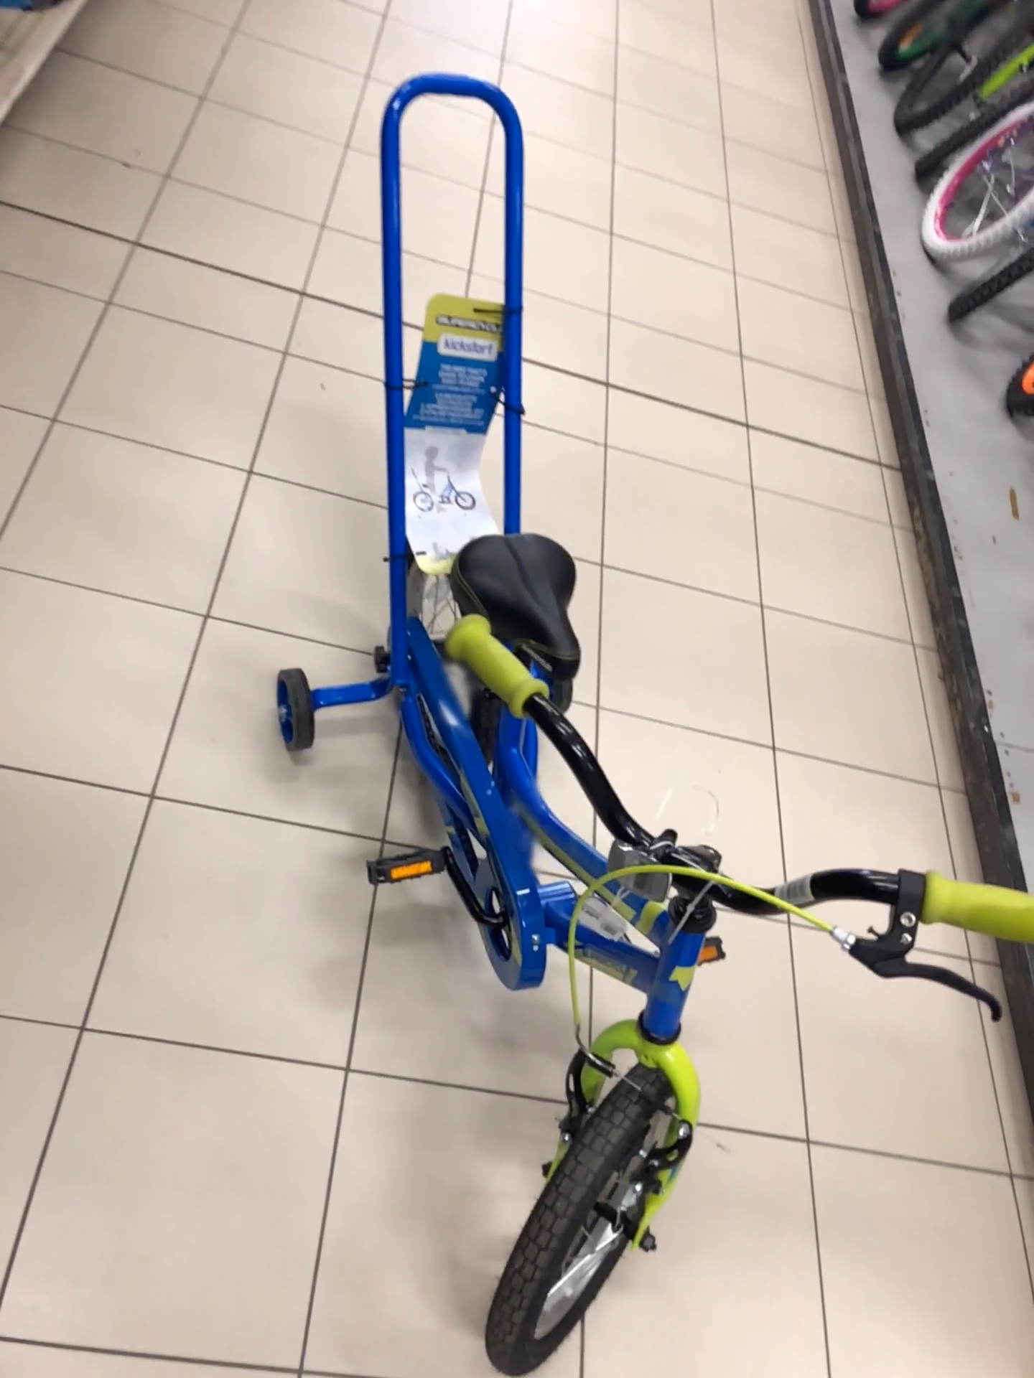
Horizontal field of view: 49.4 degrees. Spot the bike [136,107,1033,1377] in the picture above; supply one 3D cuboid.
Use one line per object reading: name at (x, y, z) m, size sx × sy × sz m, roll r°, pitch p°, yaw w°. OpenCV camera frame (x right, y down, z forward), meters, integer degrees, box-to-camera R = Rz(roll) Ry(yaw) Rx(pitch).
bike at (-0.042, 0.074, 1.103) m, size 0.539 × 0.764 × 0.955 m, roll 3°, pitch 54°, yaw -20°
